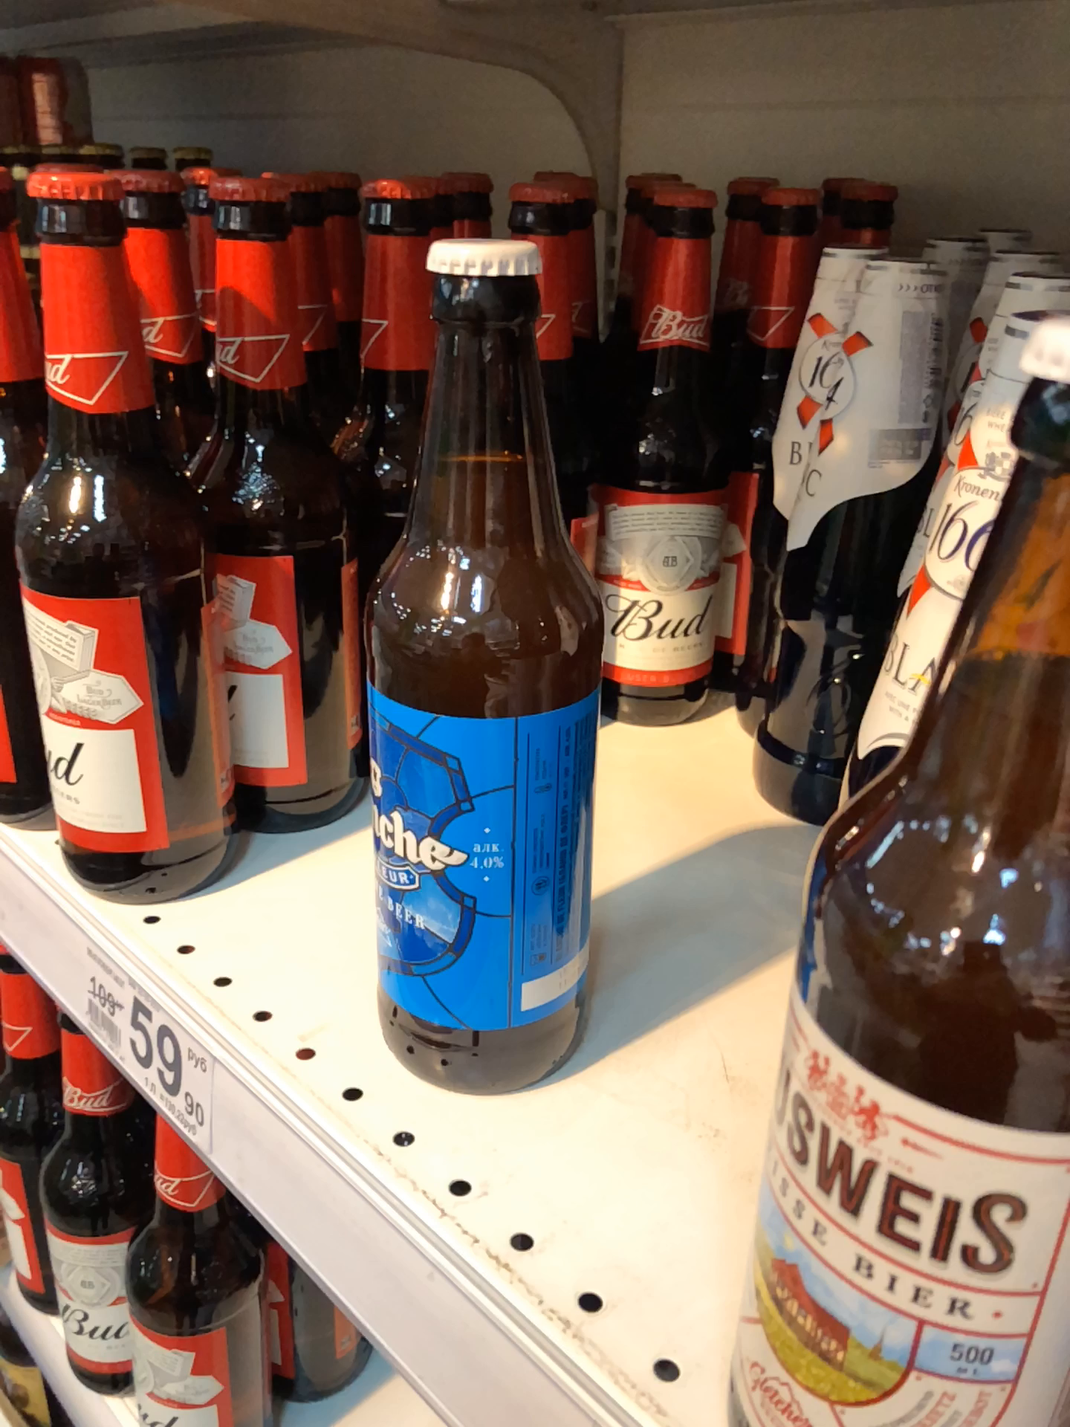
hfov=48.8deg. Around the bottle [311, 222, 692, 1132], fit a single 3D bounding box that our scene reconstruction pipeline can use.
[{"bbox_3d":[-0.013,-0.008,0.342,0.069,0.244,0.070,1,24,-1],"label":"bottle"}]
